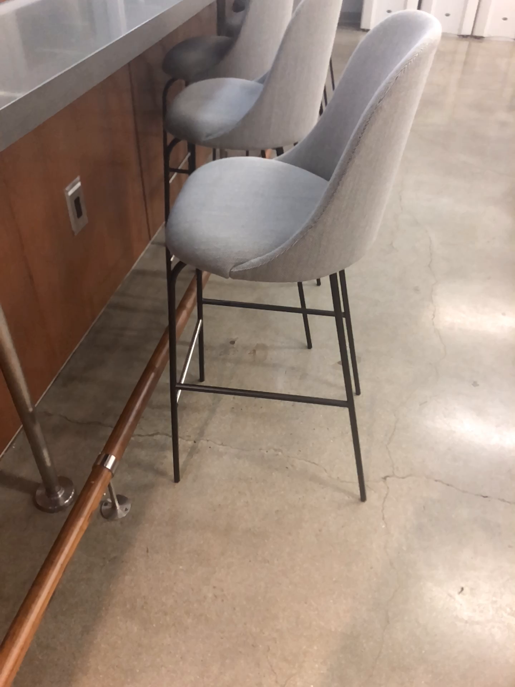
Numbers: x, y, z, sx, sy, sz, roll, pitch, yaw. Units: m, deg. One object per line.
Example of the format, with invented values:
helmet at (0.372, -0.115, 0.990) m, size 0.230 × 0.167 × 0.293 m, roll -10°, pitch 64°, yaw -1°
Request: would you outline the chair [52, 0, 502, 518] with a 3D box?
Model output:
chair at (0.039, -0.158, 1.335) m, size 0.630 × 1.090 × 0.515 m, roll 5°, pitch 40°, yaw 4°
